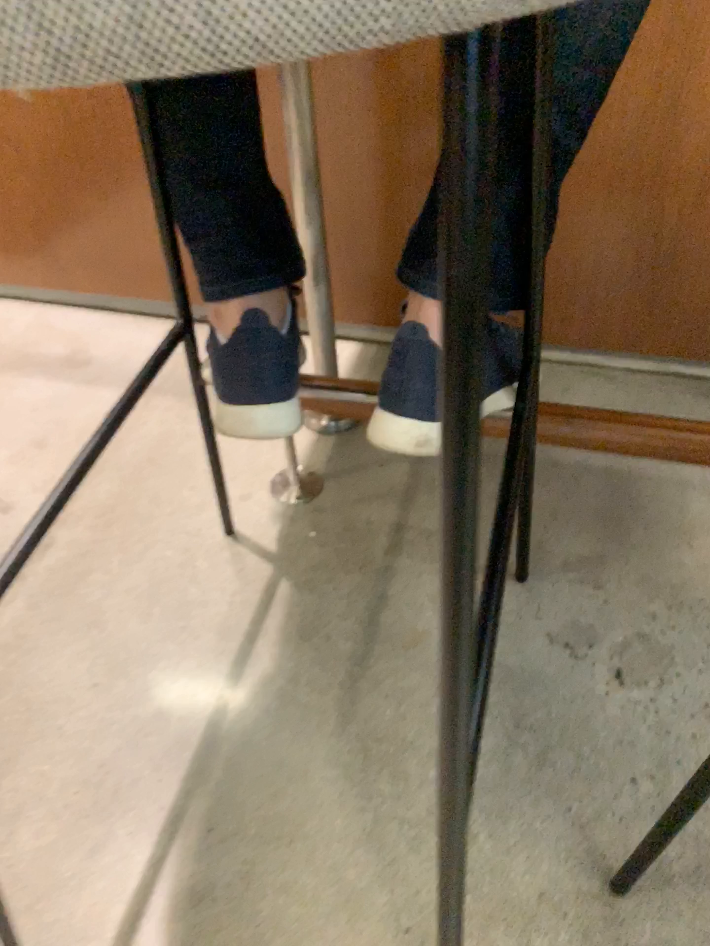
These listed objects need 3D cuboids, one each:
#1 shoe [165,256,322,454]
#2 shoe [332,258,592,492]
[{"bbox_3d":[-0.104,-0.135,0.751,0.124,0.093,0.300,-3,30,-4],"label":"shoe"},{"bbox_3d":[0.115,-0.112,0.715,0.129,0.093,0.301,23,37,21],"label":"shoe"}]
